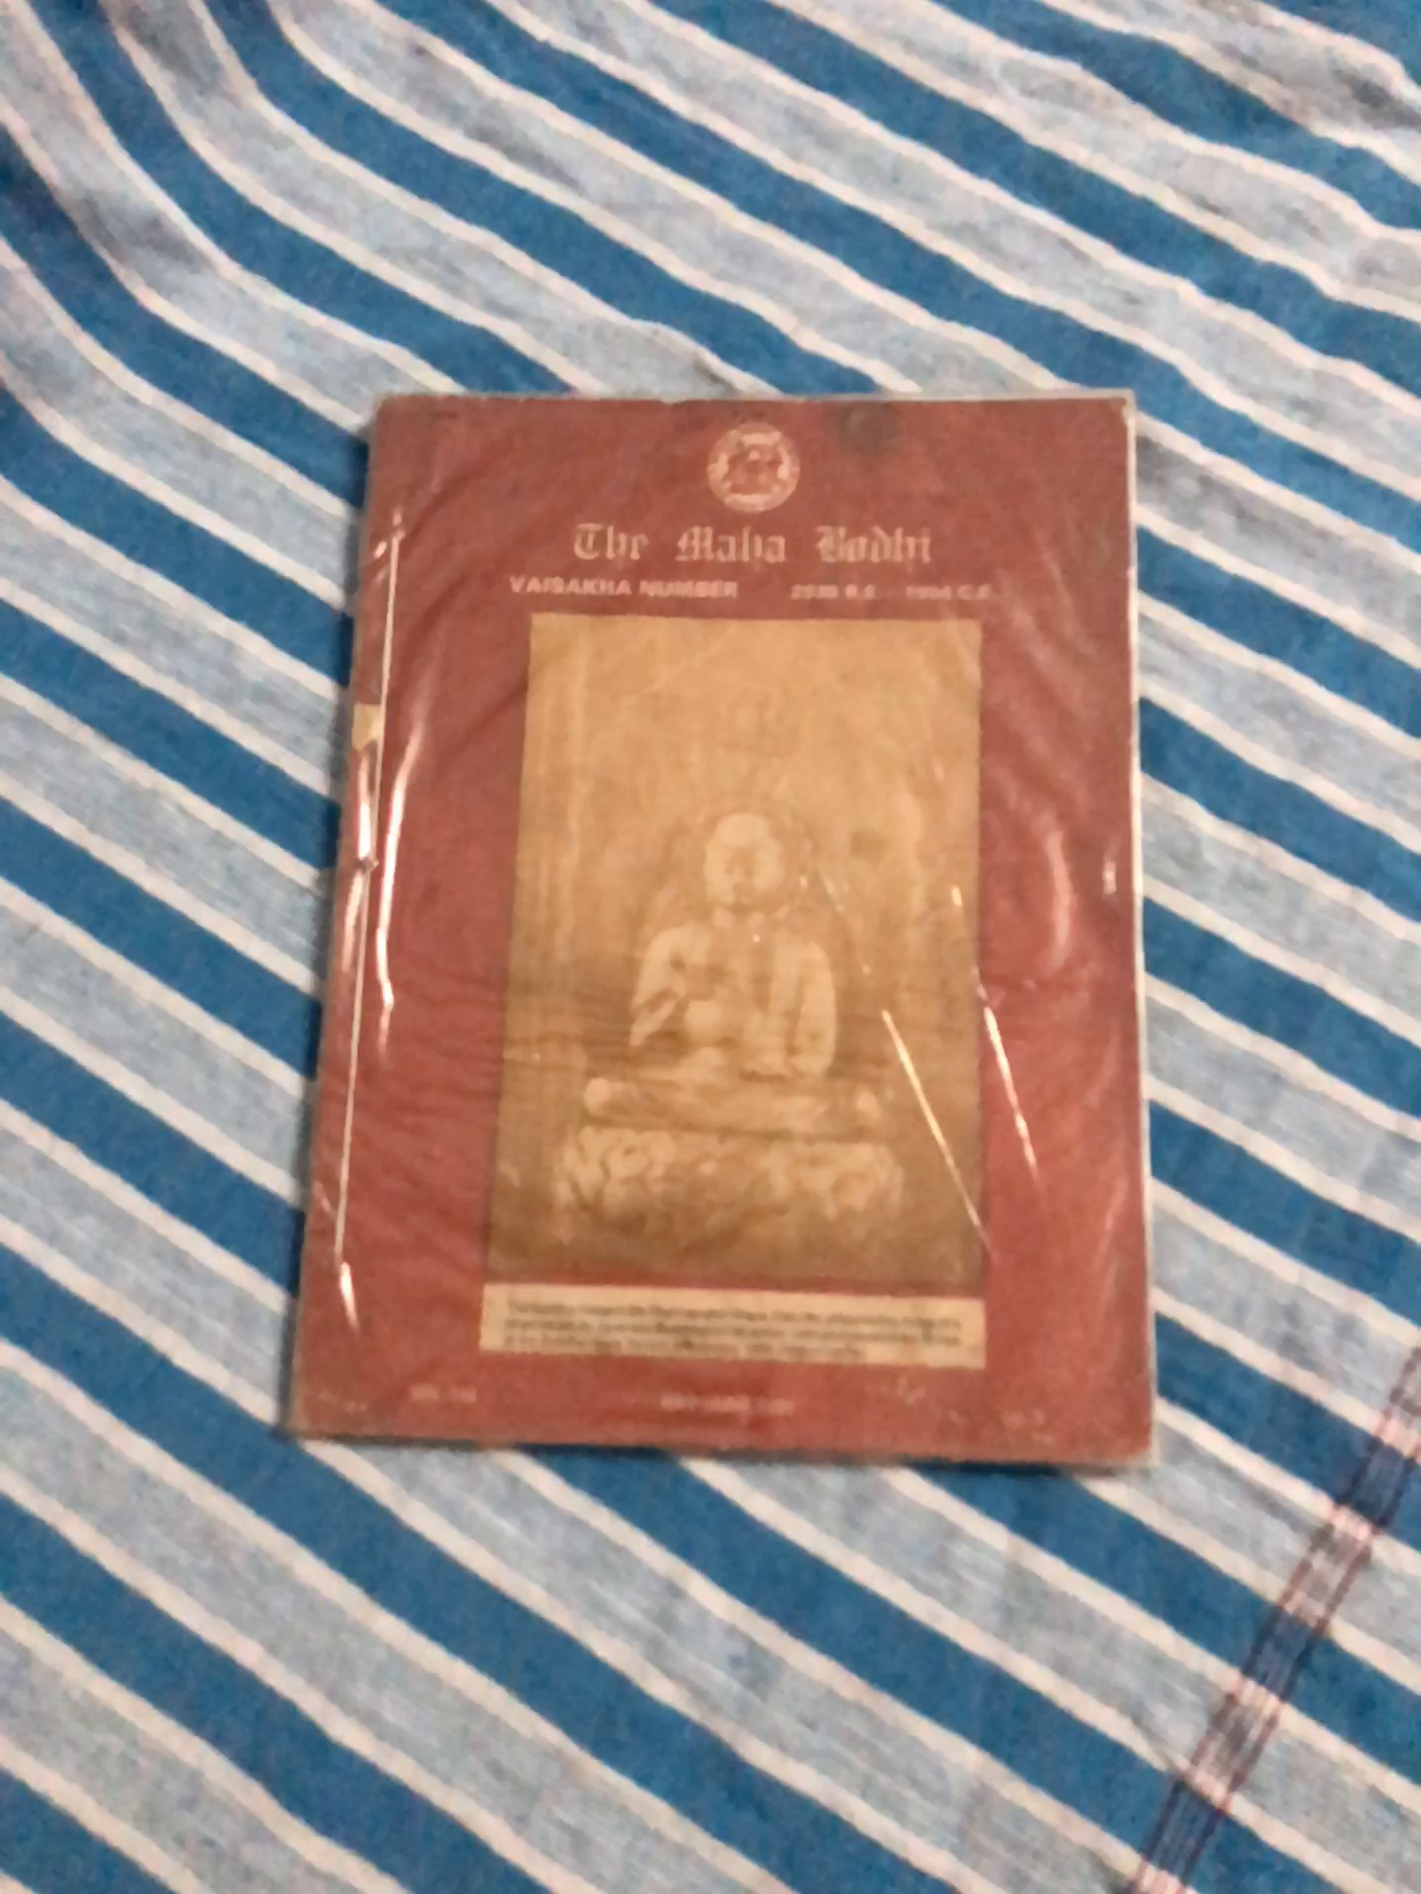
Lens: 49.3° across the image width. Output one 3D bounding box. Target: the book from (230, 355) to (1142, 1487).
[{"bbox_3d":[-0.003,-0.014,0.345,0.180,0.020,0.250,1,76,0],"label":"book"}]
